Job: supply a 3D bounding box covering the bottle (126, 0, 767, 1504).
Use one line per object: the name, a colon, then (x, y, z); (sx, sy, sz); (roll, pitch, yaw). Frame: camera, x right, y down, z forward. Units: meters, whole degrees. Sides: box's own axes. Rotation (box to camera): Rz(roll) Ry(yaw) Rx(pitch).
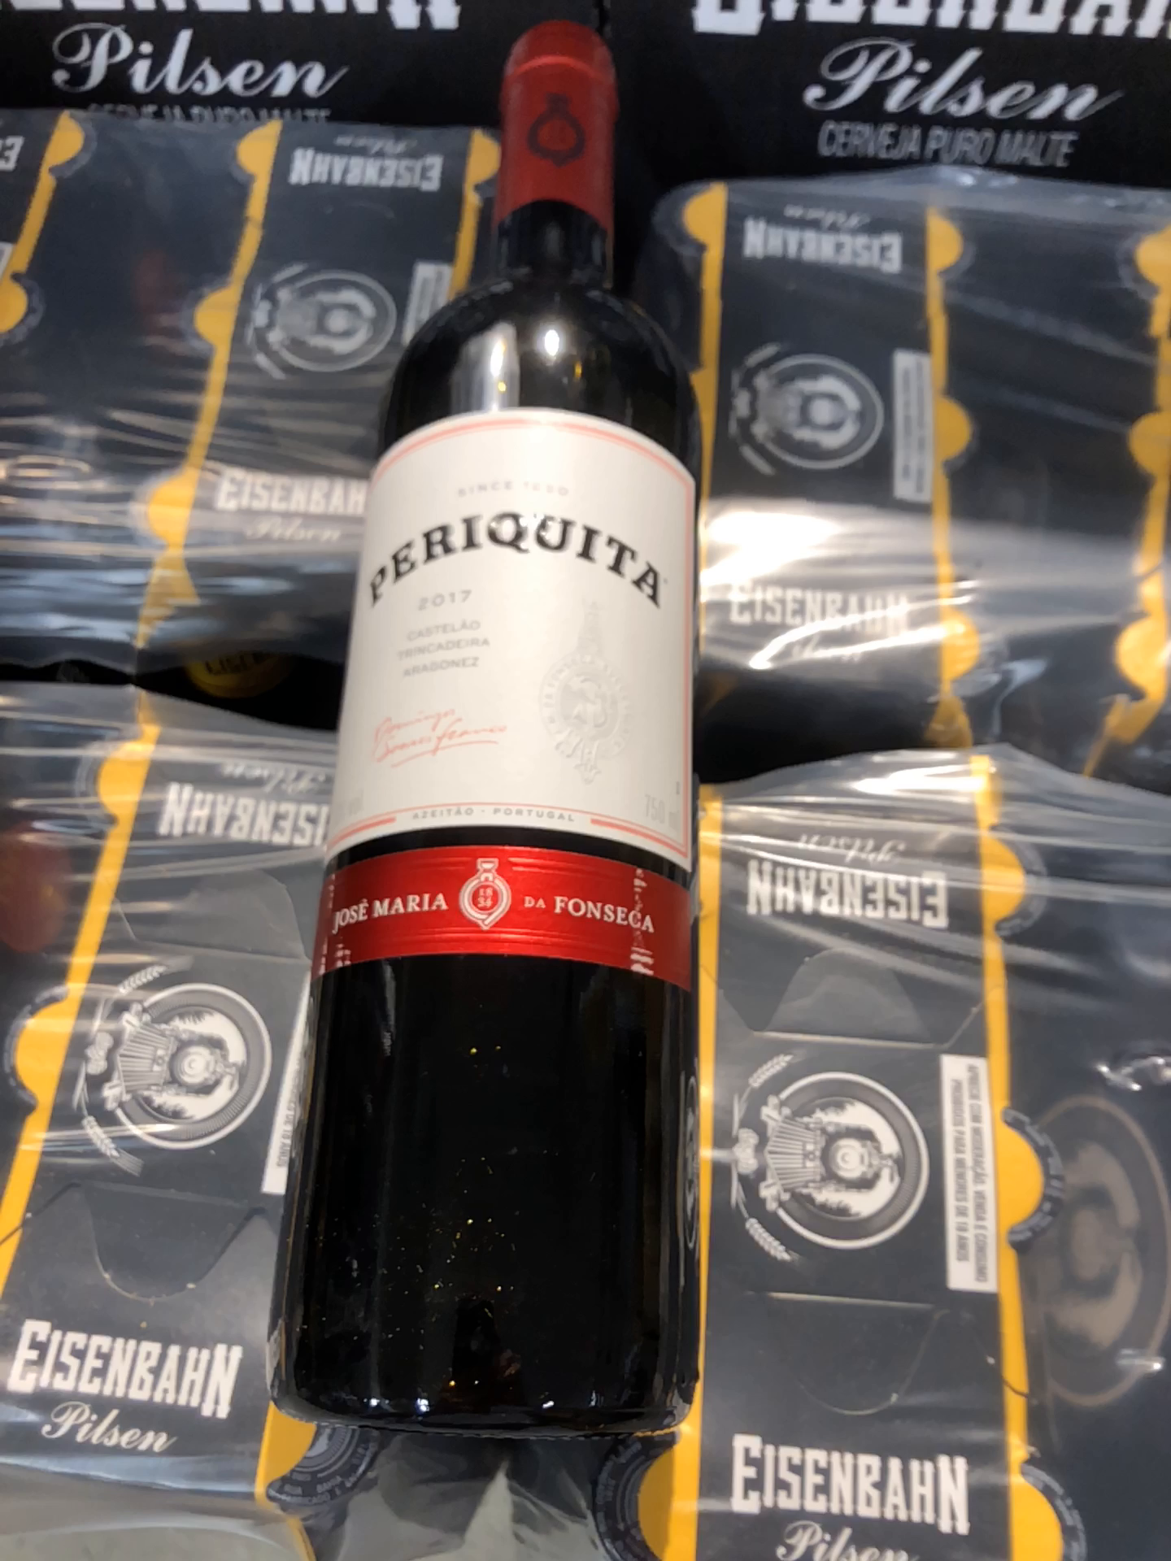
bottle: (-0.011, -0.050, 0.261); (0.080, 0.070, 0.331); (2, 67, 1)
